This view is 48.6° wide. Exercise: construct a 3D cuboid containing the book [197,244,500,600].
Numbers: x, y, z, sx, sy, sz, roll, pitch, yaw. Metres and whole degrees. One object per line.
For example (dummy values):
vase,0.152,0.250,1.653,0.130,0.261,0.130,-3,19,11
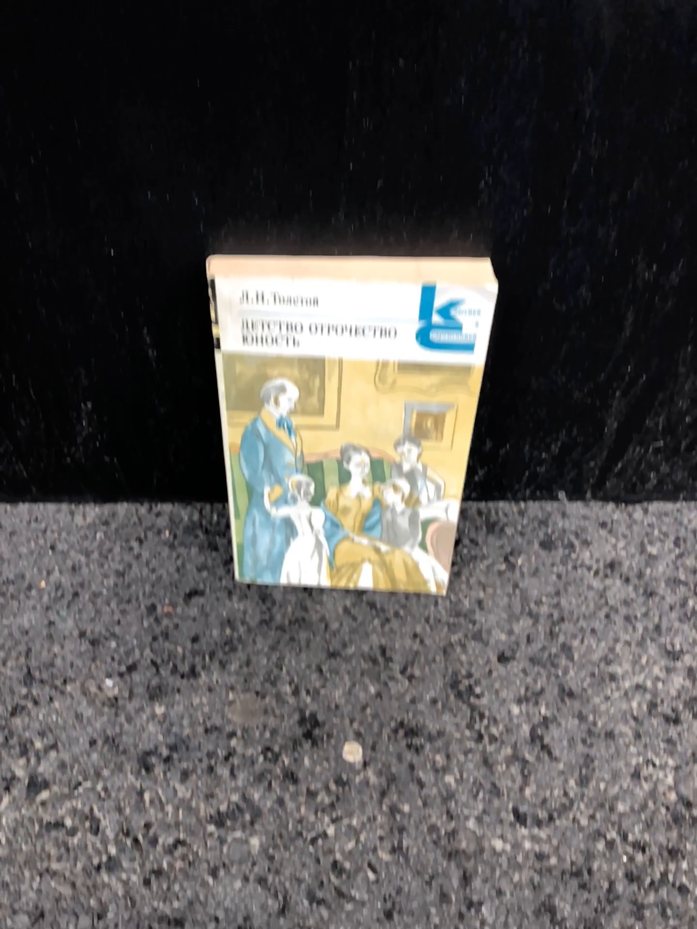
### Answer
book,-0.003,-0.010,0.375,0.120,0.184,0.030,3,39,0
